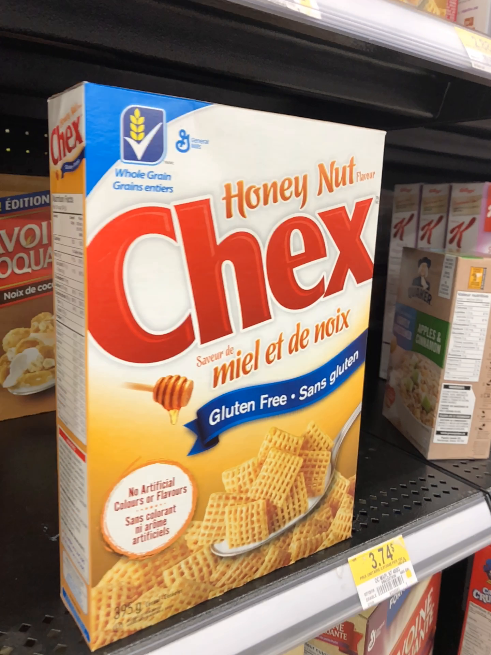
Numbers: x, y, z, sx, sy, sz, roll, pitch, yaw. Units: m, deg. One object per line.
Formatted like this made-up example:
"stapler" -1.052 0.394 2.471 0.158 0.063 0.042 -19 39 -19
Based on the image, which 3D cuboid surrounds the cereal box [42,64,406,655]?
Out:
"cereal box" -0.004 0.015 0.329 0.210 0.279 0.050 -6 13 -35
